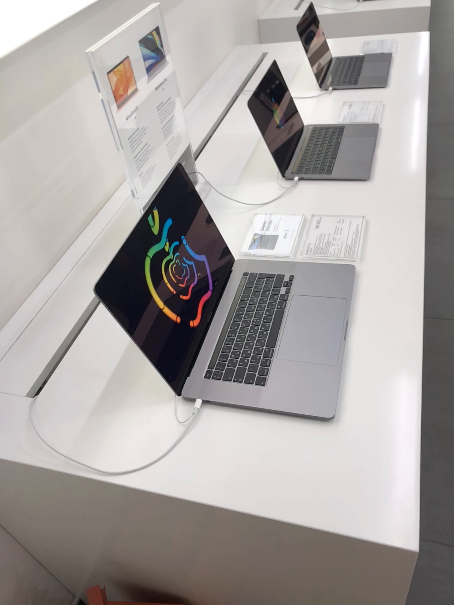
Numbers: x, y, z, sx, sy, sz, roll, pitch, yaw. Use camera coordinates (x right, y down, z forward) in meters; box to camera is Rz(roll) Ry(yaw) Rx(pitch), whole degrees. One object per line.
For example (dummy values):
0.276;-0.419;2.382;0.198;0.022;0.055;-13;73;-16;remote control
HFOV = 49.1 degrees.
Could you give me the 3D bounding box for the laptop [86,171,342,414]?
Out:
0.015;-0.038;0.817;0.309;0.209;0.329;5;44;16;laptop
